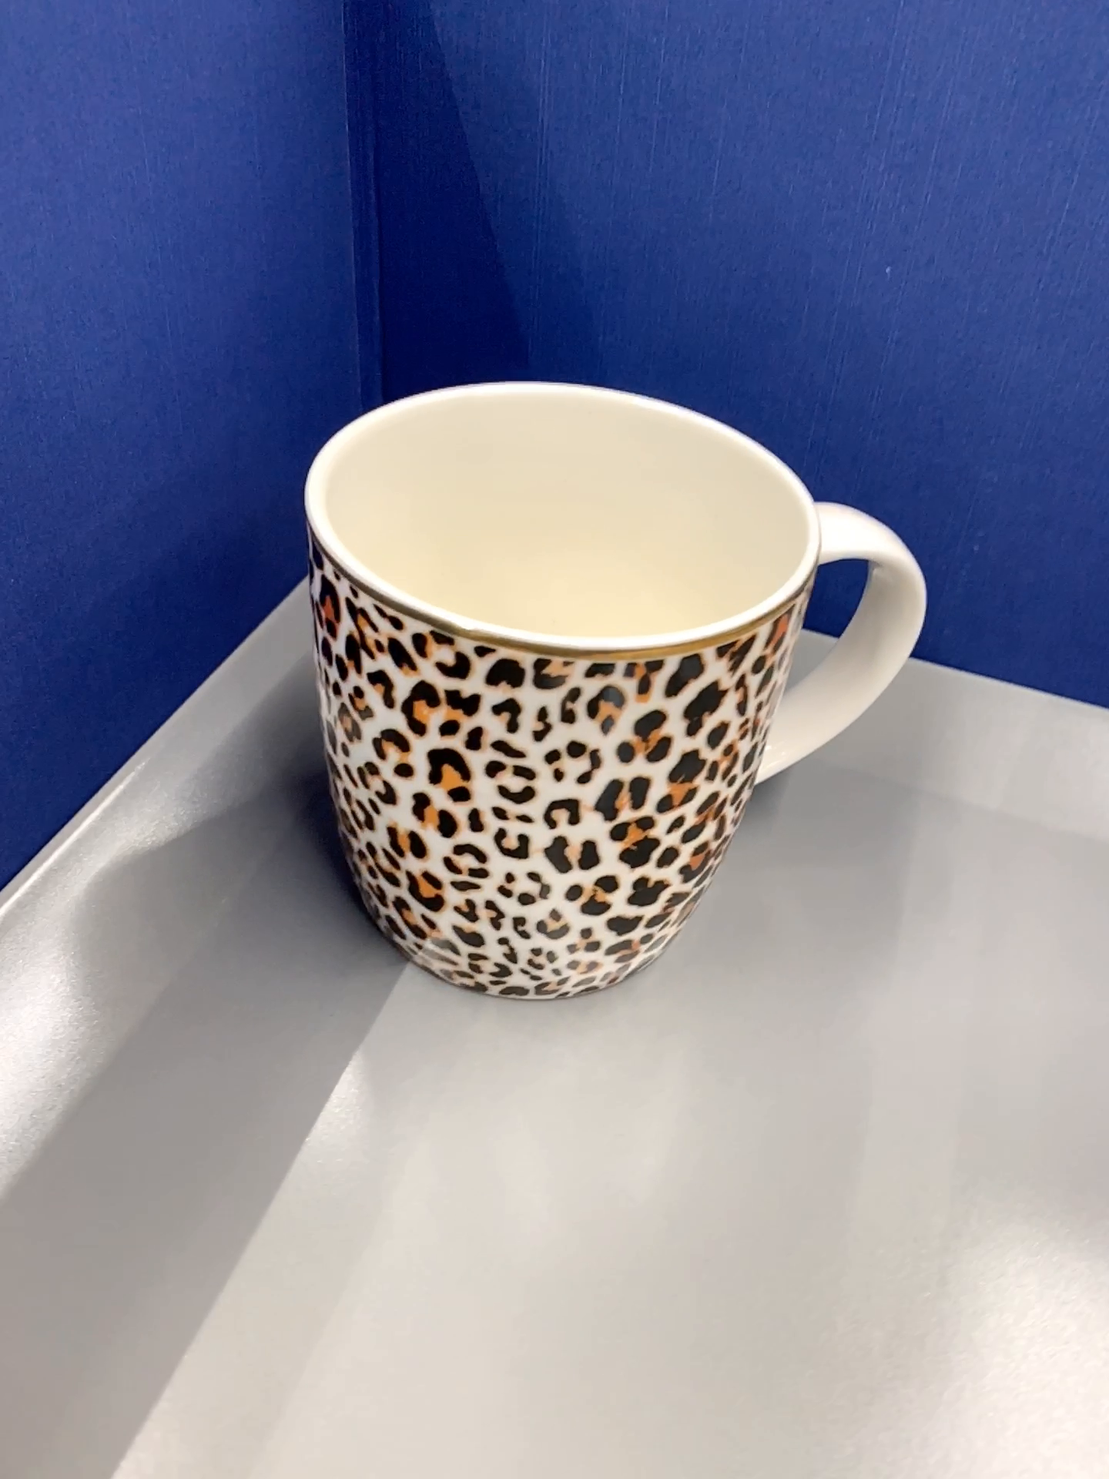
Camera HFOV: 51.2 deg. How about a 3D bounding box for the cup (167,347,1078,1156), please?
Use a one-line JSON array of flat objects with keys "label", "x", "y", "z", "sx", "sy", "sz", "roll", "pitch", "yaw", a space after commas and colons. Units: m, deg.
[{"label": "cup", "x": 0.003, "y": -0.007, "z": 0.227, "sx": 0.126, "sy": 0.095, "sz": 0.099, "roll": -12, "pitch": 42, "yaw": -20}]
